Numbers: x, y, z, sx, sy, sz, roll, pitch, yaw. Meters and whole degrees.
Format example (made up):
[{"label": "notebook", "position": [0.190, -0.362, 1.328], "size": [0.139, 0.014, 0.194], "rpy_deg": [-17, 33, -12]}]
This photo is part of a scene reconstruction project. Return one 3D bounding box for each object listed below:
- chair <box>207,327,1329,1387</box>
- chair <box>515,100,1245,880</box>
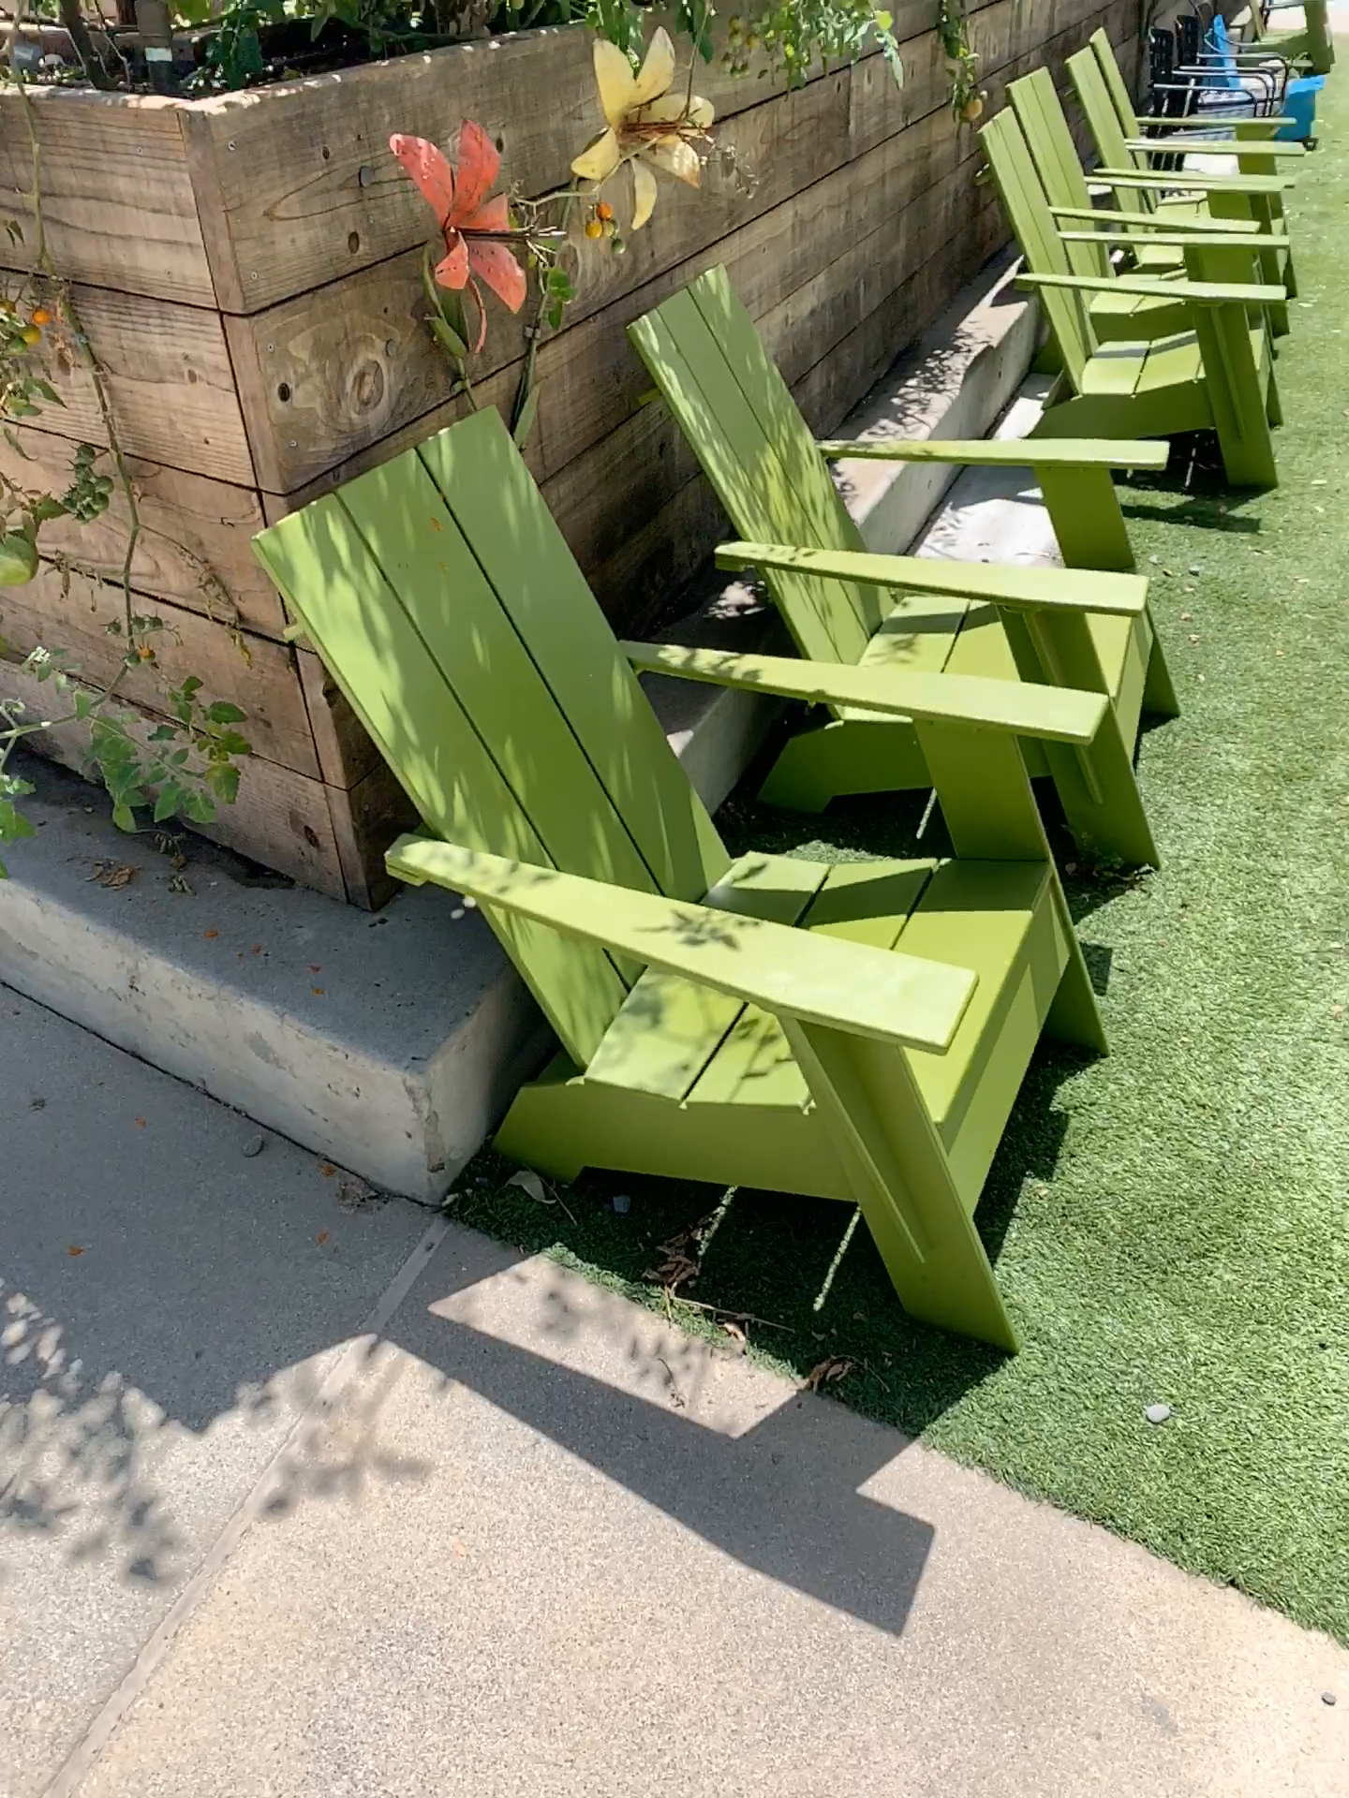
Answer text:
[{"label": "chair", "position": [0.164, -0.117, 1.571], "size": [0.902, 0.835, 0.683], "rpy_deg": [10, 38, 24]}, {"label": "chair", "position": [0.423, -0.646, 2.377], "size": [0.891, 0.984, 0.683], "rpy_deg": [2, 37, 31]}]
